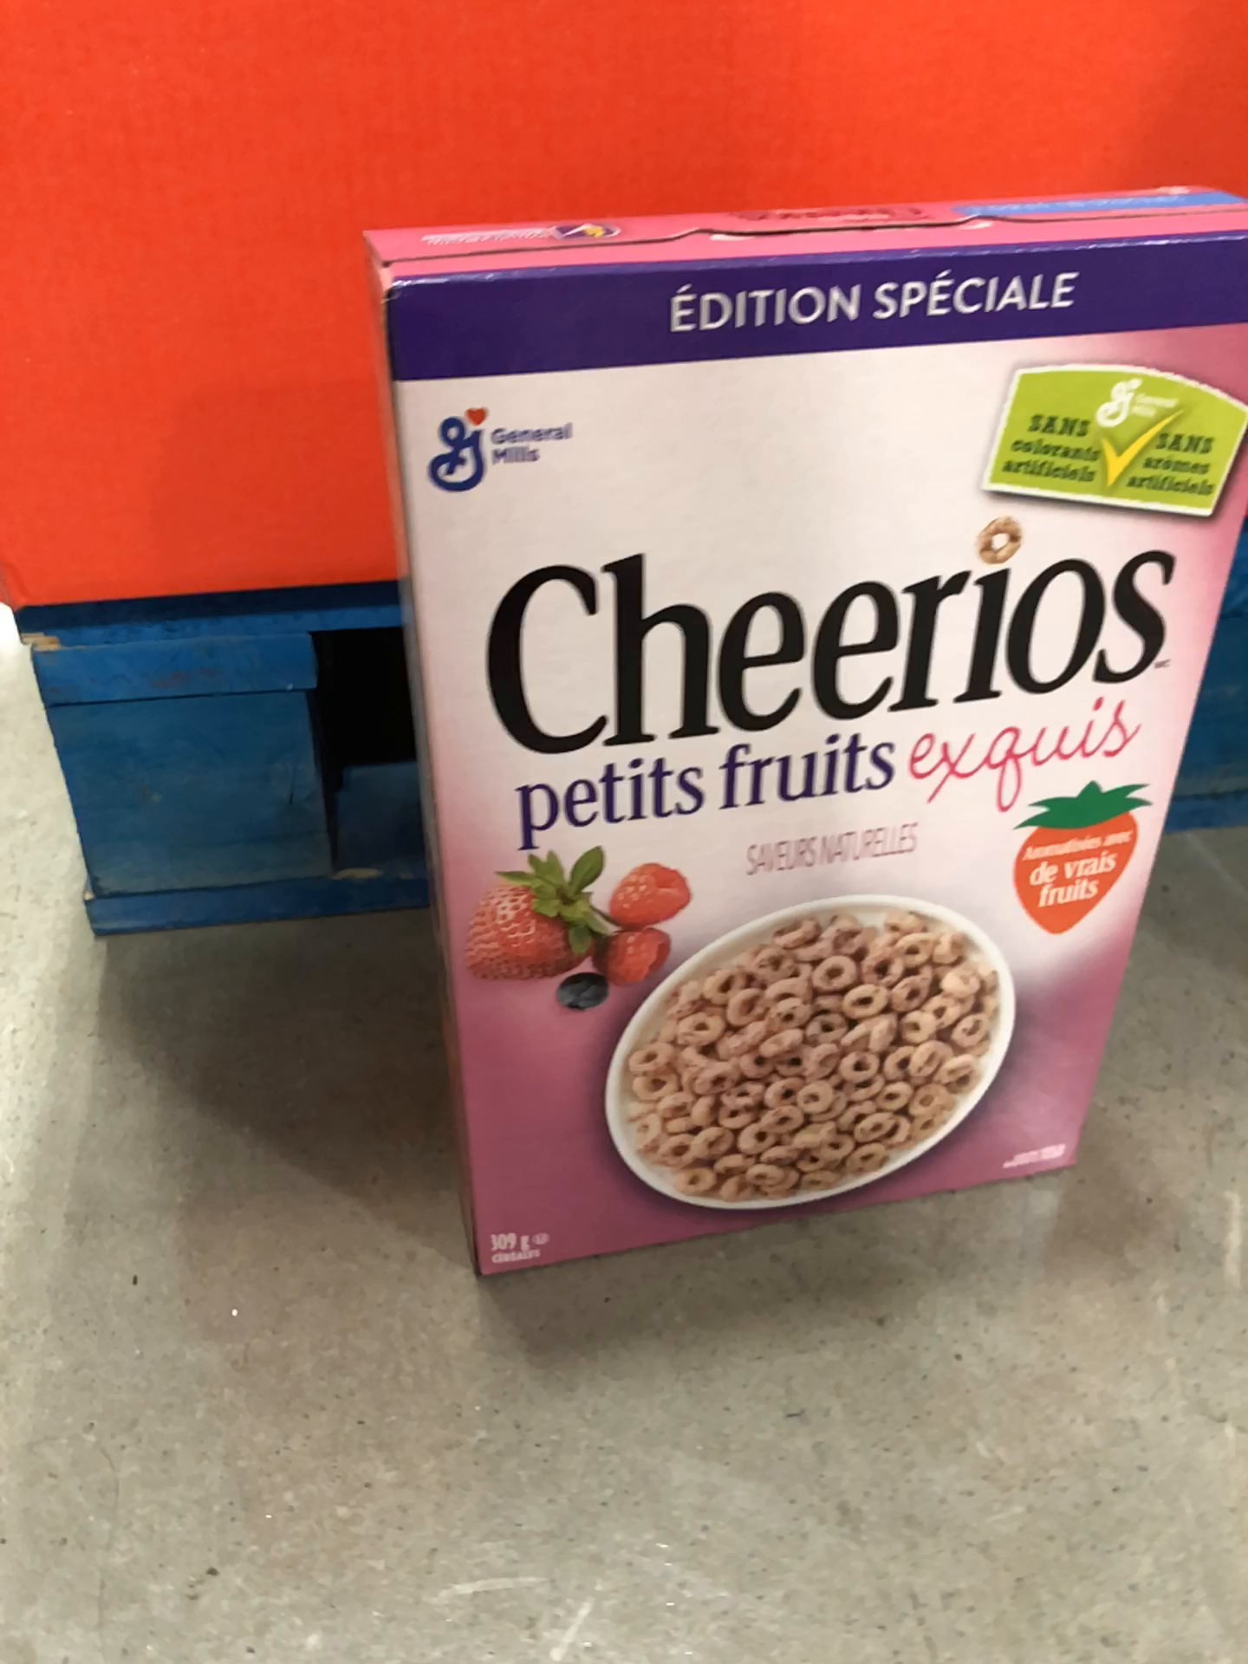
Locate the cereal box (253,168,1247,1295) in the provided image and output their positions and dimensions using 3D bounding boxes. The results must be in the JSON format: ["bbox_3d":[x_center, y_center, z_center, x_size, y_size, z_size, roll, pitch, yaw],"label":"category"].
[{"bbox_3d":[0.037,-0.011,0.363,0.220,0.279,0.060,-7,36,-10],"label":"cereal box"}]
